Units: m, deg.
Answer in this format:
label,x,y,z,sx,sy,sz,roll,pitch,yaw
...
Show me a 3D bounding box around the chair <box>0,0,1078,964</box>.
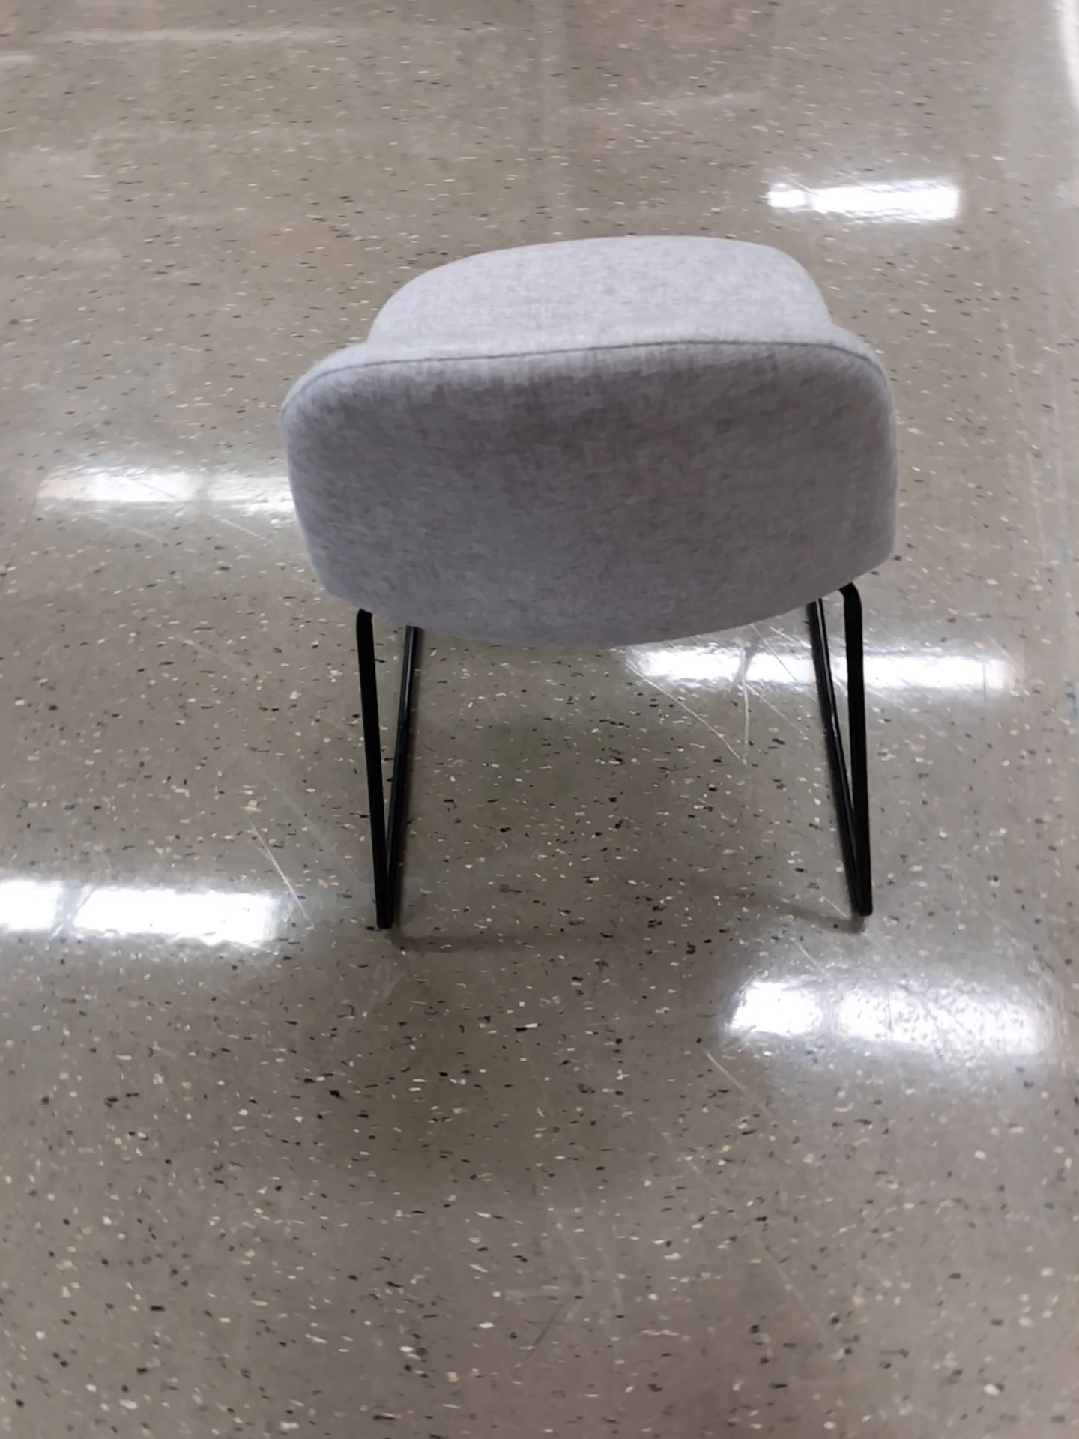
label,x,y,z,sx,sy,sz,roll,pitch,yaw
chair,0.083,-0.199,0.984,0.590,0.779,0.581,-1,61,4
